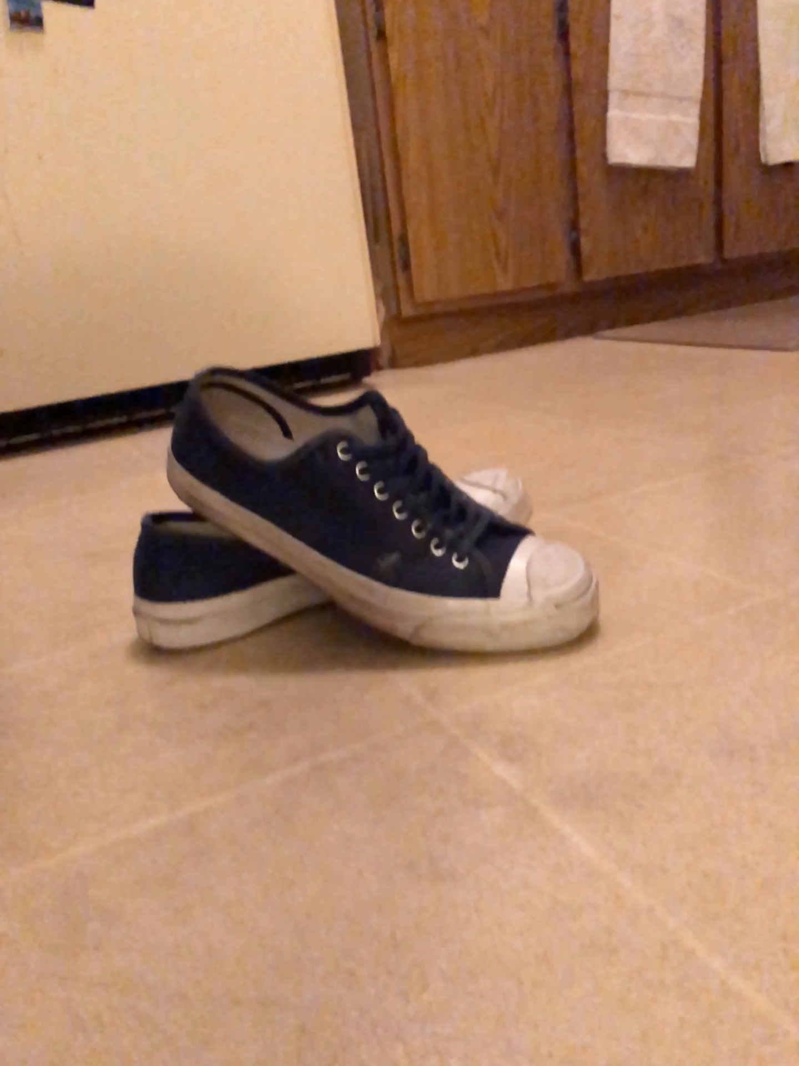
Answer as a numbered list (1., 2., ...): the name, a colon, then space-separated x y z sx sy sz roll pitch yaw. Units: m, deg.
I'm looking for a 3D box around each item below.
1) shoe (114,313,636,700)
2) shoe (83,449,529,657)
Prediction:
1. shoe: -0.020 -0.024 0.546 0.290 0.099 0.101 23 45 13
2. shoe: -0.063 0.003 0.629 0.290 0.080 0.110 -8 21 -25
